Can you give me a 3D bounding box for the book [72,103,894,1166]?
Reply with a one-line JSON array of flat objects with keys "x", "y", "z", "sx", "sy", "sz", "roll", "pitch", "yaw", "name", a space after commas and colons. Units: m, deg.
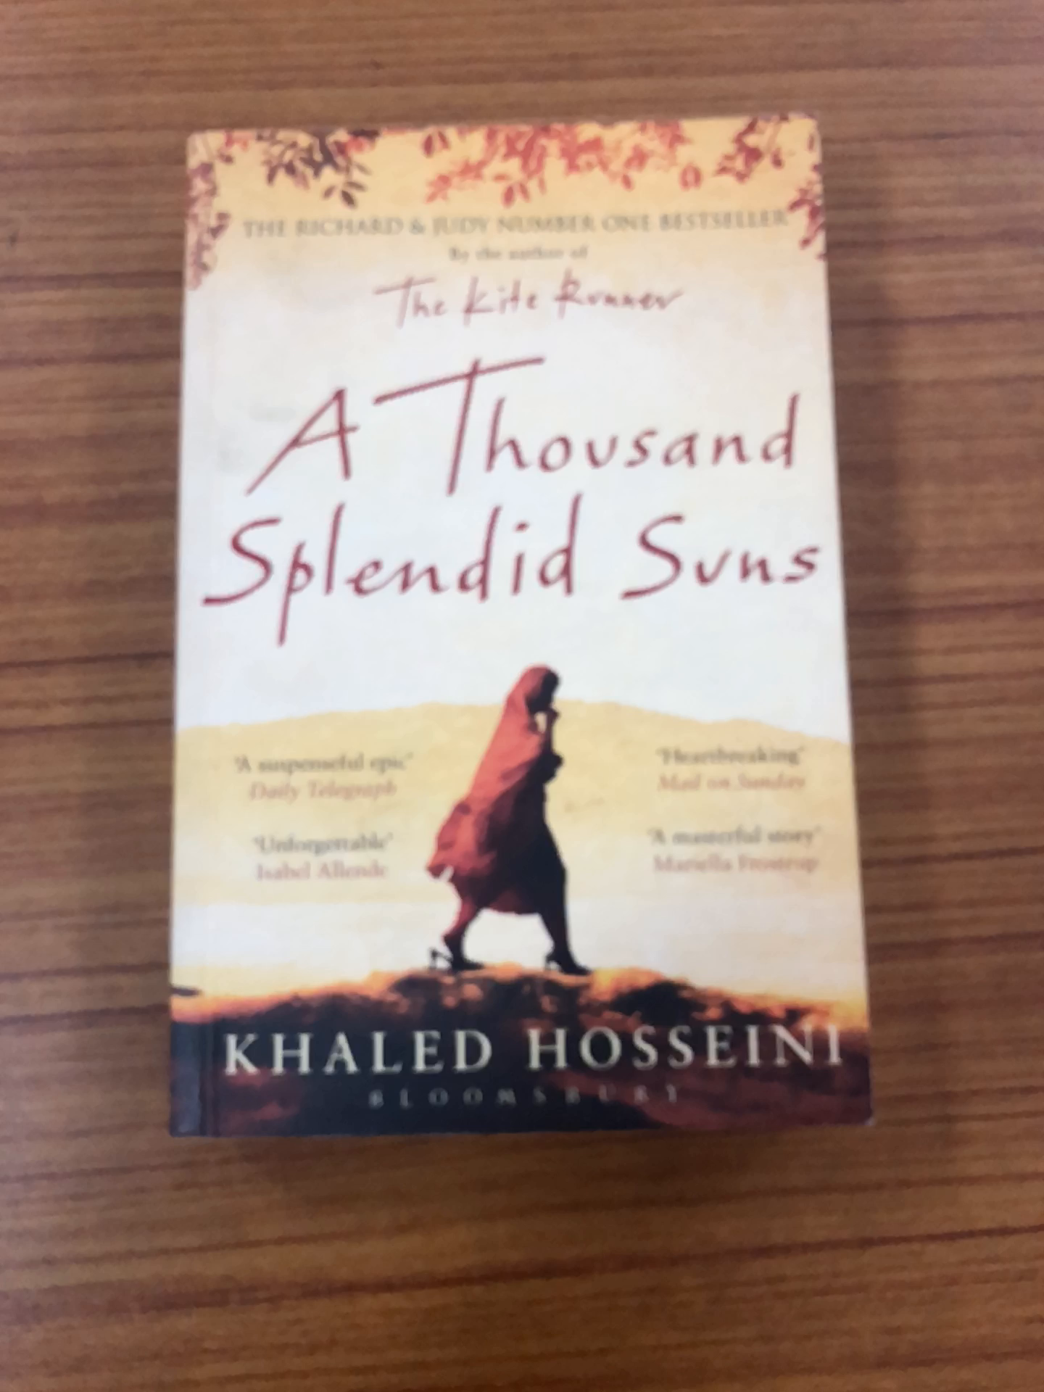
[{"x": -0.009, "y": -0.015, "z": 0.229, "sx": 0.140, "sy": 0.030, "sz": 0.190, "roll": -1, "pitch": 84, "yaw": -2, "name": "book"}]
